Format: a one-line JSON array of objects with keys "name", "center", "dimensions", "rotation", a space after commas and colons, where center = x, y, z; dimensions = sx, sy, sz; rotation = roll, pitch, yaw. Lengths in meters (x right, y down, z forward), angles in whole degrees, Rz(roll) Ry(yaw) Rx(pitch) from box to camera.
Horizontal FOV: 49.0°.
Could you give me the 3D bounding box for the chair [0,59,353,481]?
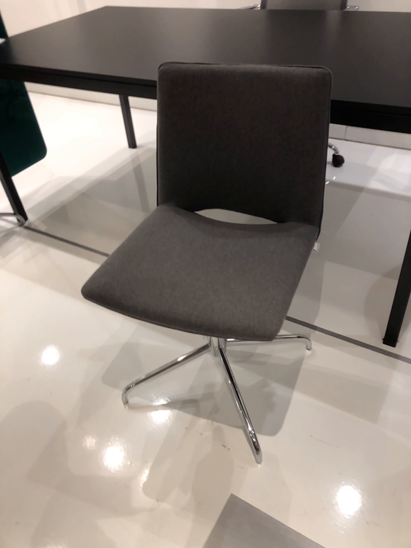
[{"name": "chair", "center": [0.013, -0.015, 1.152], "dimensions": [0.521, 0.844, 0.533], "rotation": [12, 43, 21]}]
